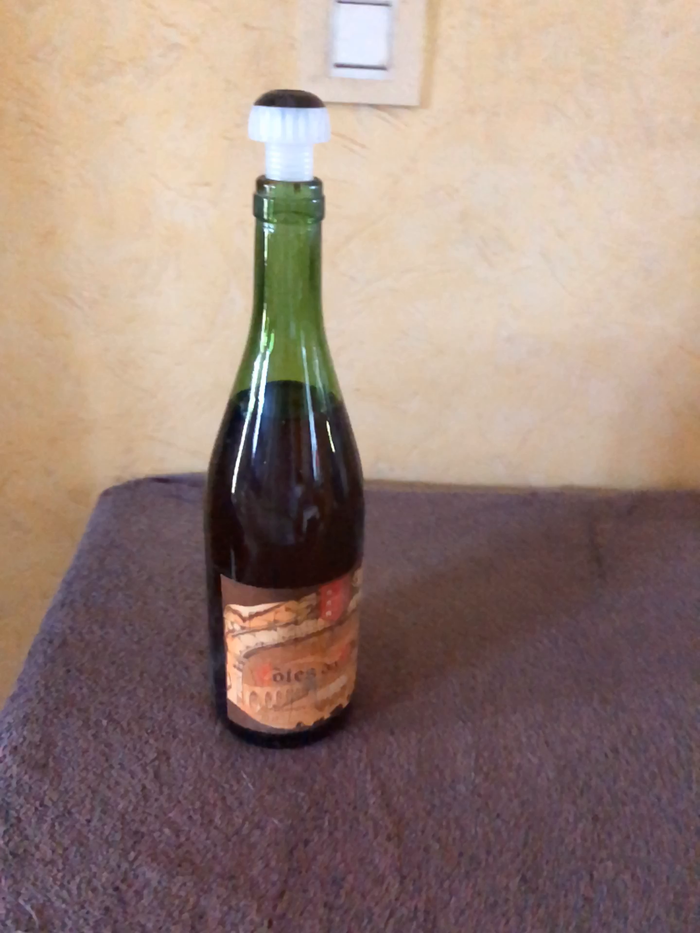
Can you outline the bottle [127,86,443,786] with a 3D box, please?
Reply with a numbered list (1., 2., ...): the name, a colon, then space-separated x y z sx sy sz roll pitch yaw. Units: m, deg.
1. bottle: -0.033 -0.006 0.368 0.090 0.308 0.090 2 28 -1
